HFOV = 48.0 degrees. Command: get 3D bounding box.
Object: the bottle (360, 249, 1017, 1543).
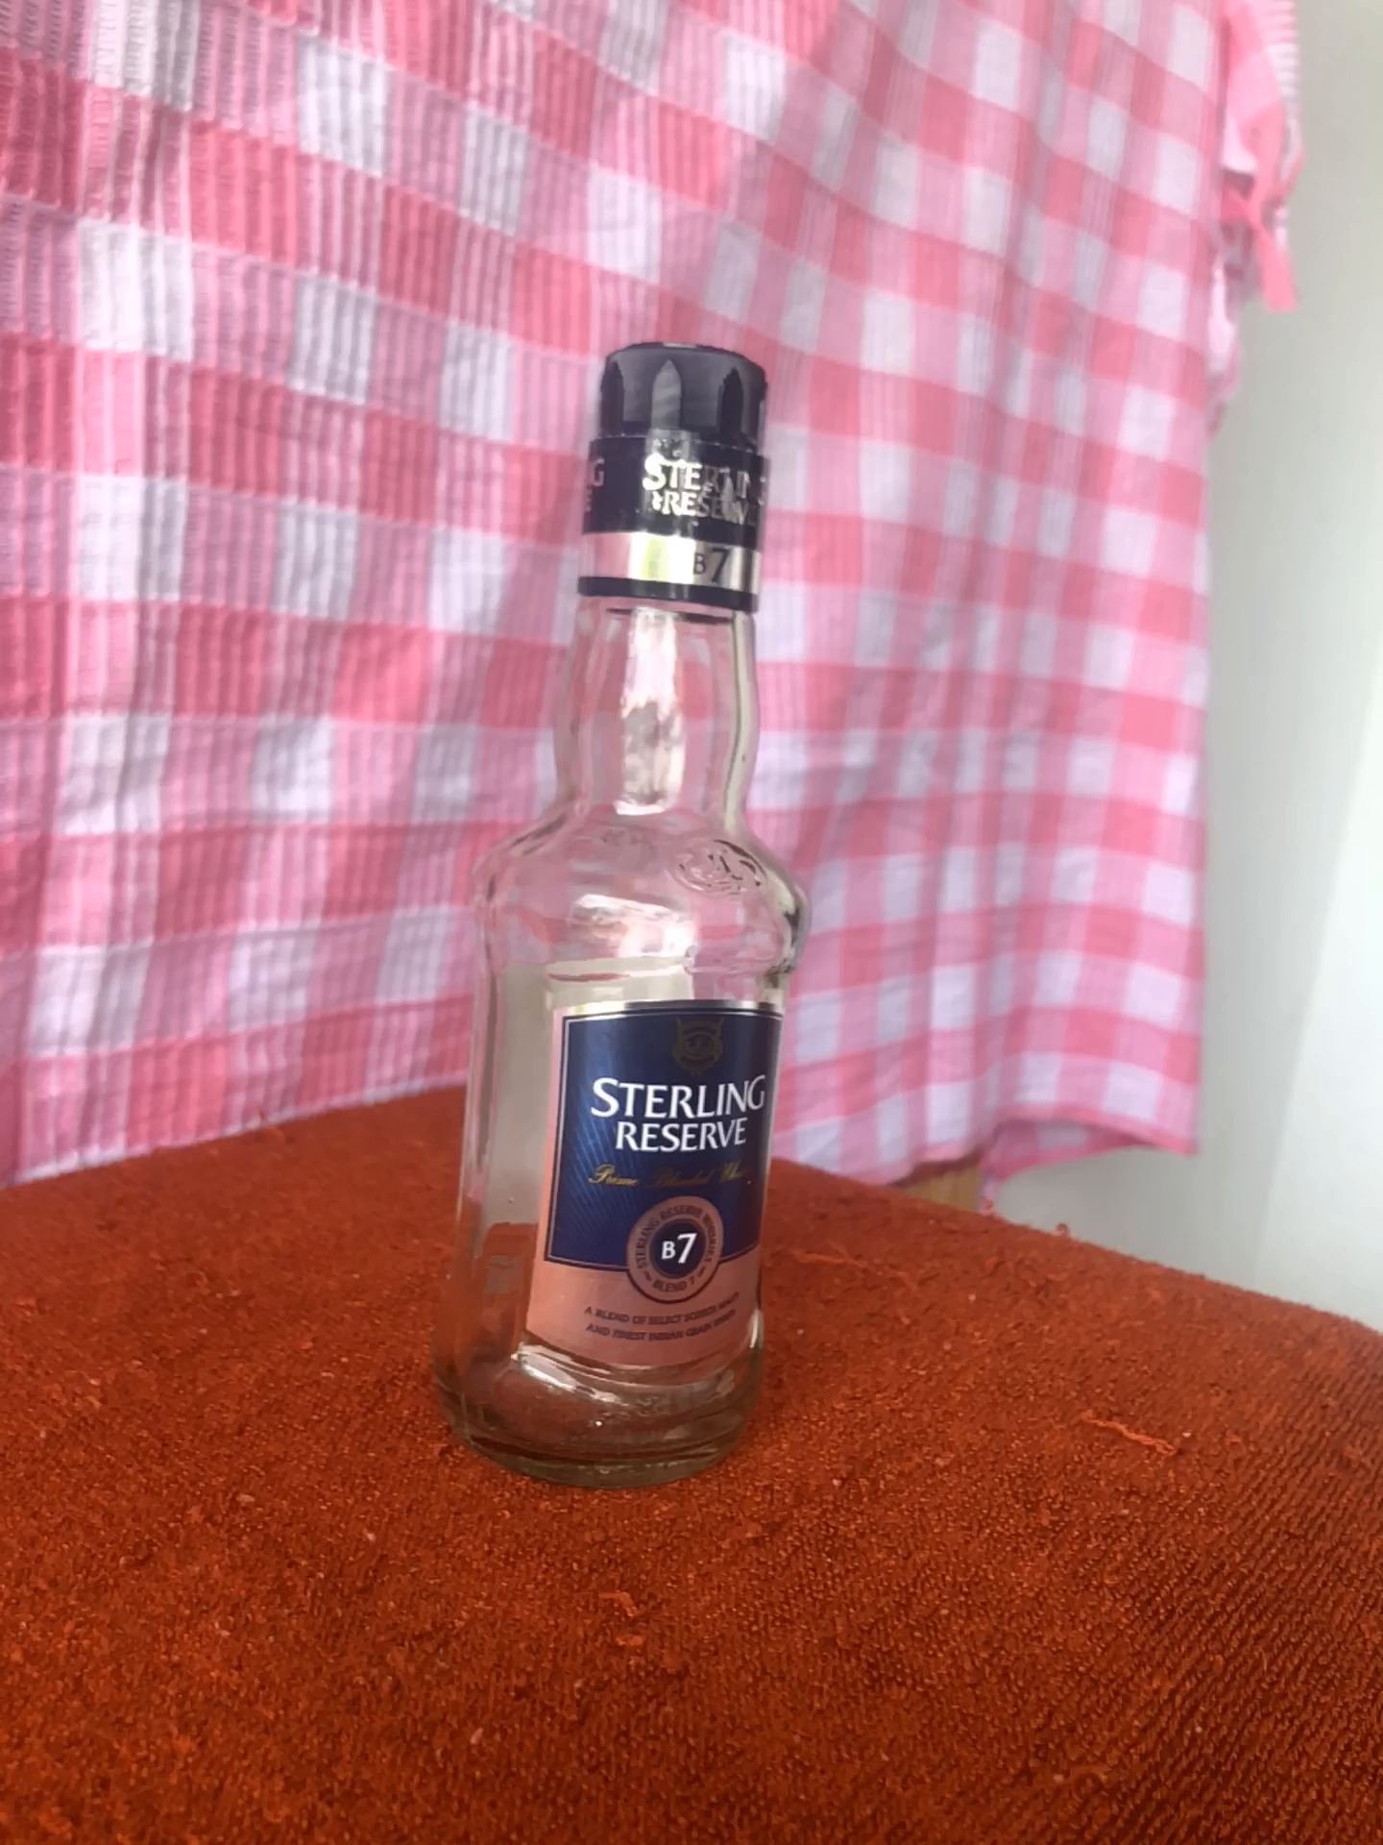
[{"bbox_3d":[-0.005,-0.002,0.236,0.060,0.170,0.050,4,9,-28],"label":"bottle"}]
